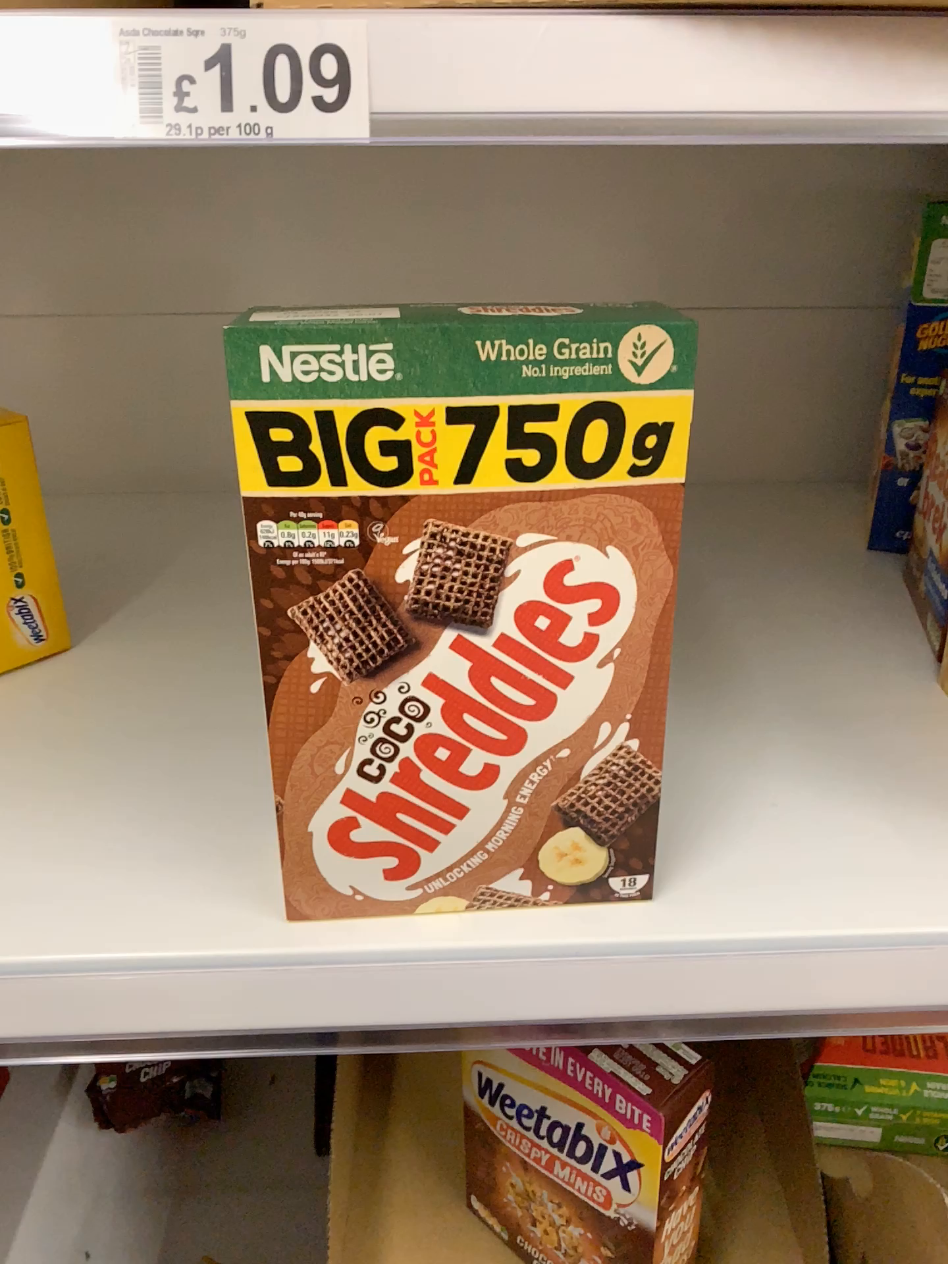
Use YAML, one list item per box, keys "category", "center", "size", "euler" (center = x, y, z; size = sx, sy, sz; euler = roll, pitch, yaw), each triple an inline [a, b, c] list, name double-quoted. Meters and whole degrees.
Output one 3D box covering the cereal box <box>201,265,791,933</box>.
- category: "cereal box"
  center: [0.007, -0.009, 0.443]
  size: [0.210, 0.288, 0.081]
  euler: [-2, 25, -4]
